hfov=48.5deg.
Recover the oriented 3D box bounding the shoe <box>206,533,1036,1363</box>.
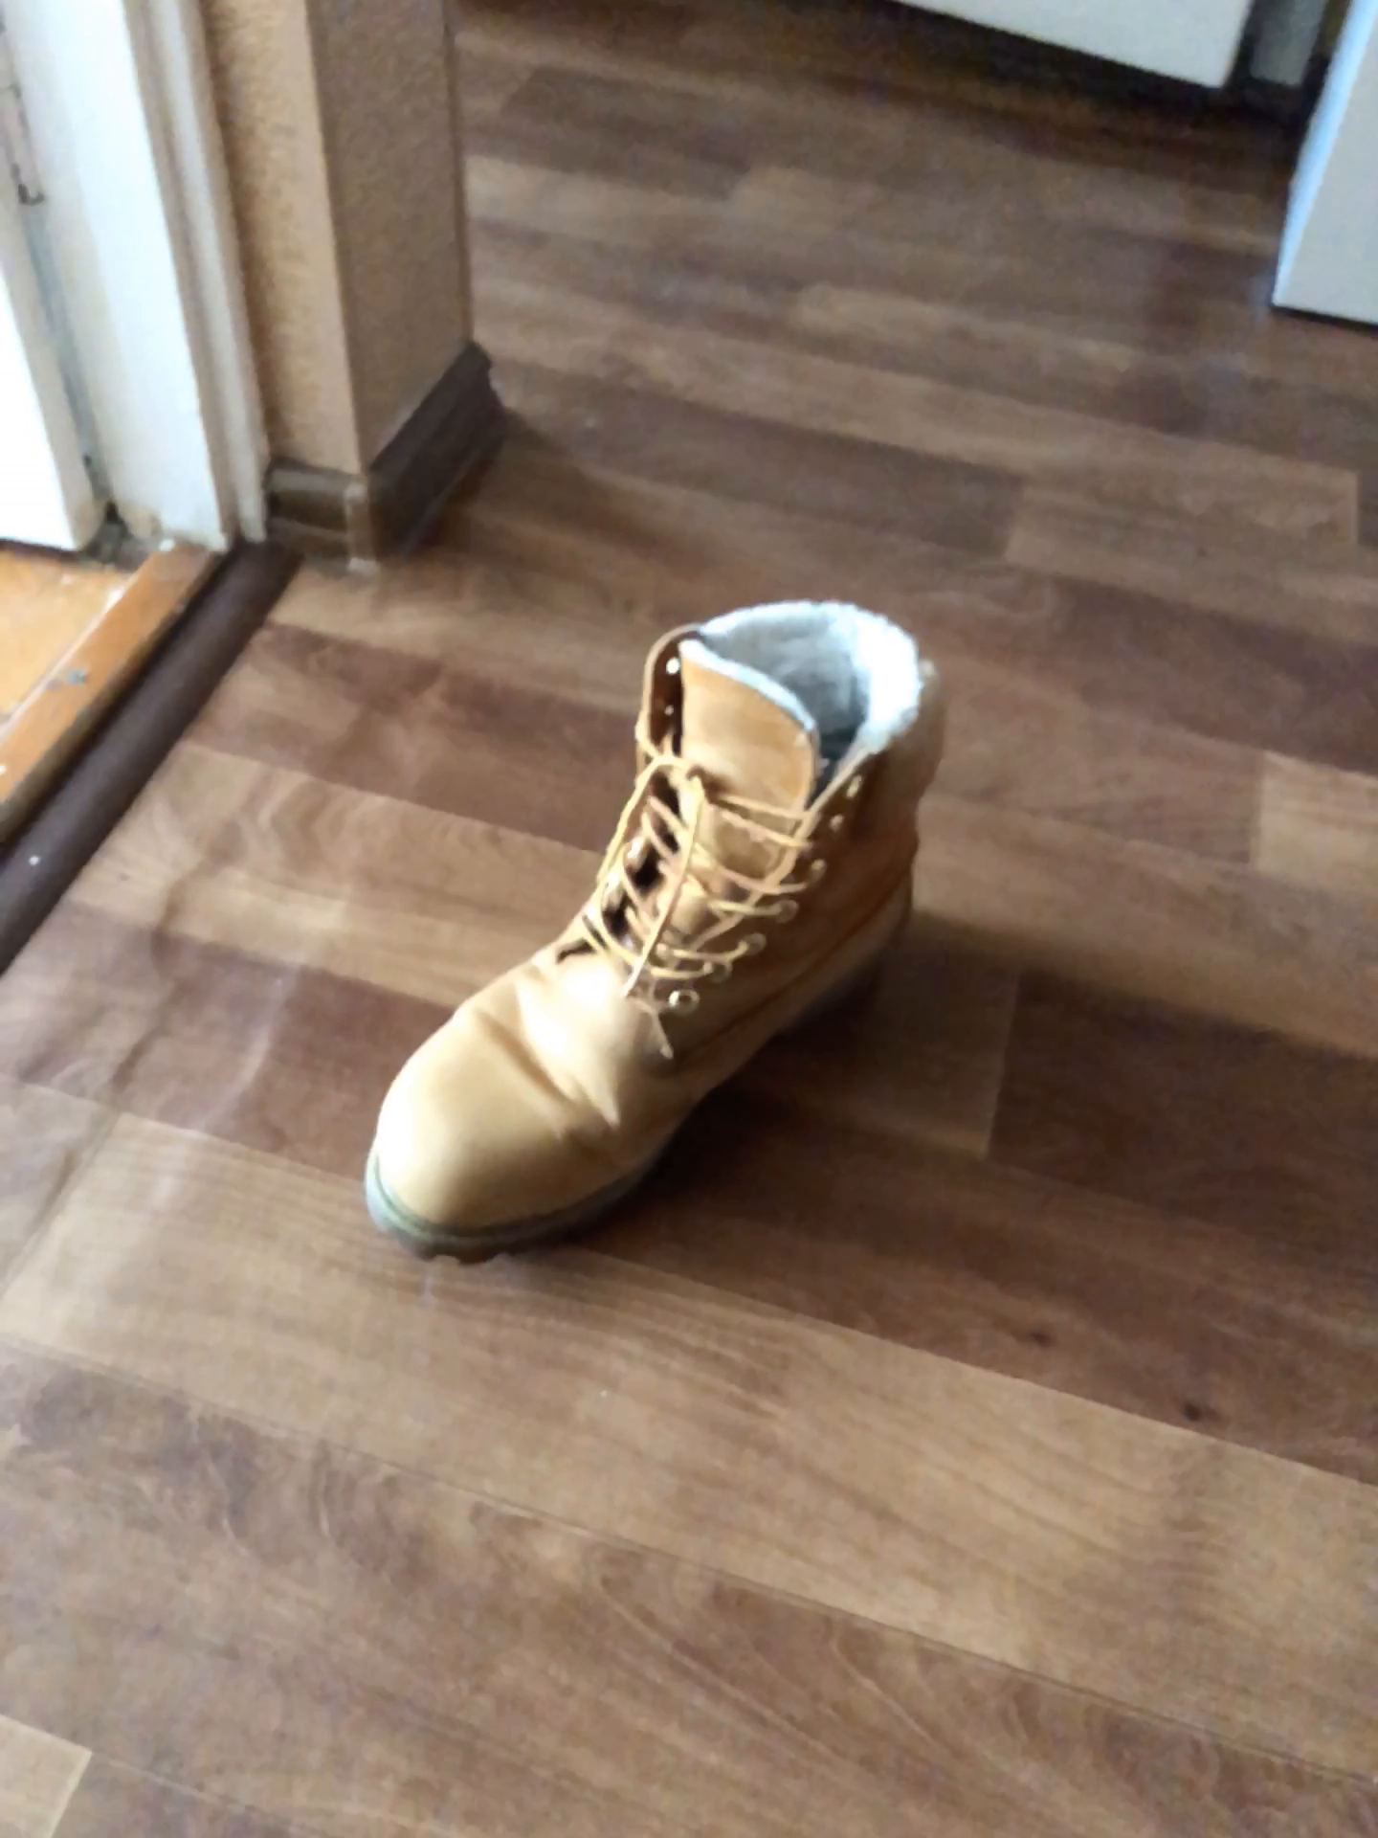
[{"bbox_3d":[-0.017,0.003,0.611,0.291,0.179,0.120,-35,60,-29],"label":"shoe"}]
